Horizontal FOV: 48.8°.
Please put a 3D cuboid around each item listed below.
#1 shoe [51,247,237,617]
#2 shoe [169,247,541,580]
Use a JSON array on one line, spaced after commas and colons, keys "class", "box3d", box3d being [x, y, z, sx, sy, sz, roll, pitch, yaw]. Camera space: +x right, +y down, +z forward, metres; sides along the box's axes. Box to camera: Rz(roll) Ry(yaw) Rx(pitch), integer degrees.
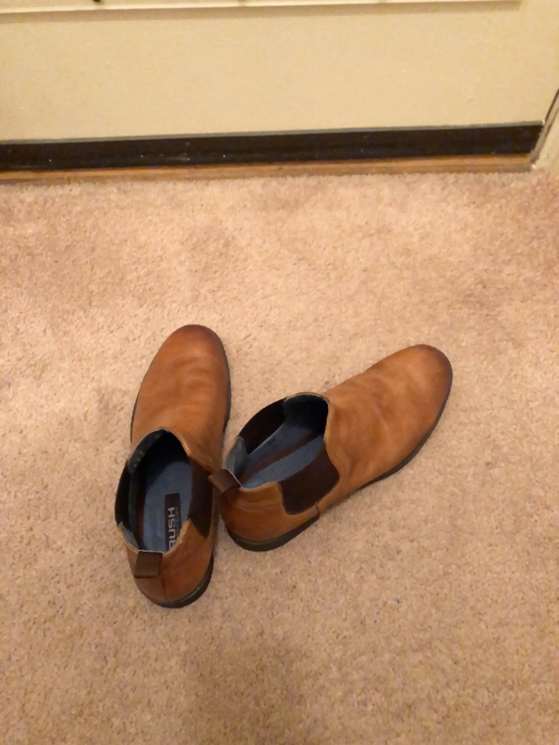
[{"class": "shoe", "box3d": [-0.108, 0.056, 0.591, 0.109, 0.166, 0.313, 1, 61, 0]}, {"class": "shoe", "box3d": [0.070, 0.041, 0.587, 0.312, 0.166, 0.109, -33, 66, -16]}]
